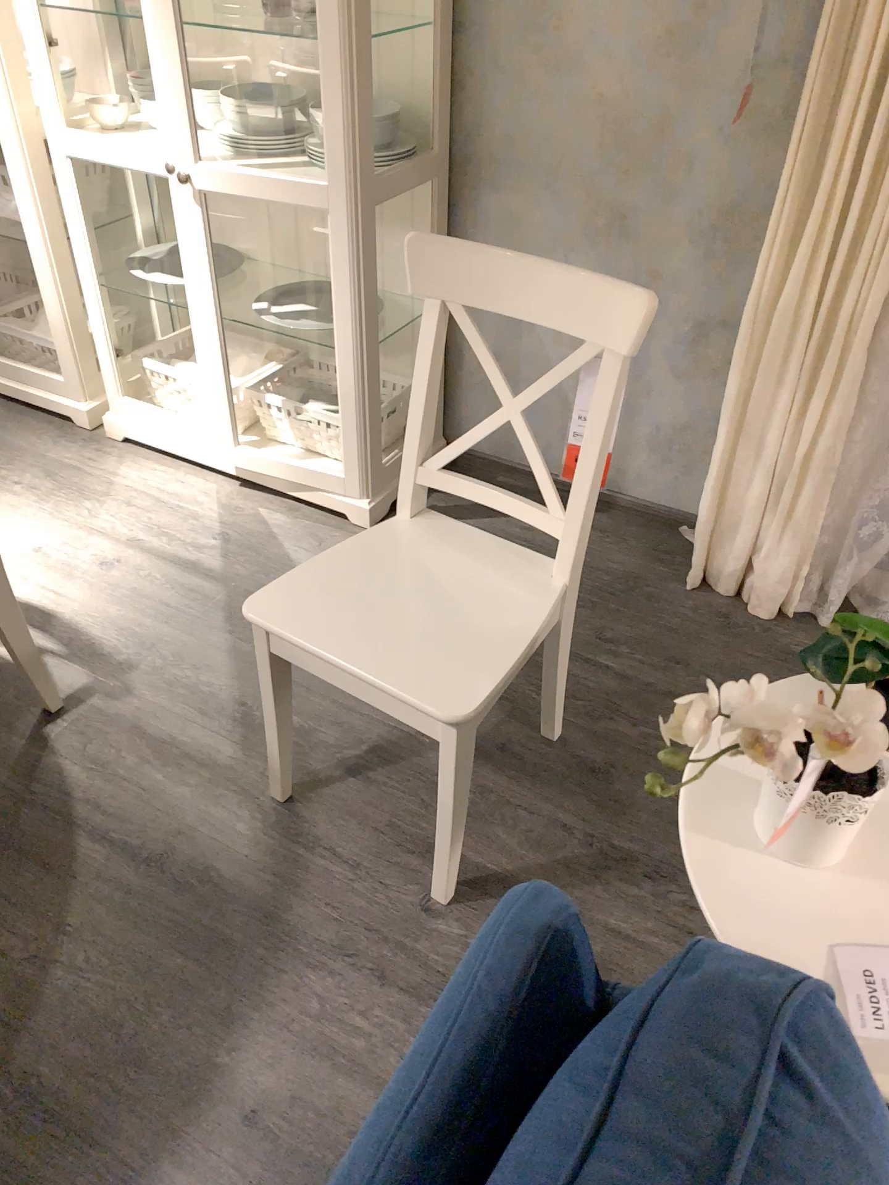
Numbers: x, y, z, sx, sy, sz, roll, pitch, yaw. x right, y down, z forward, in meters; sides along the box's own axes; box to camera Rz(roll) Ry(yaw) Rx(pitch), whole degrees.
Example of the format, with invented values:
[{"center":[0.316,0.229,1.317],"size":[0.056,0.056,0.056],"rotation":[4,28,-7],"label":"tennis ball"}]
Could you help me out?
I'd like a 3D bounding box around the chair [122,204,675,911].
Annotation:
[{"center":[-0.040,-0.060,1.365],"size":[0.451,0.806,0.542],"rotation":[23,44,24],"label":"chair"}]
